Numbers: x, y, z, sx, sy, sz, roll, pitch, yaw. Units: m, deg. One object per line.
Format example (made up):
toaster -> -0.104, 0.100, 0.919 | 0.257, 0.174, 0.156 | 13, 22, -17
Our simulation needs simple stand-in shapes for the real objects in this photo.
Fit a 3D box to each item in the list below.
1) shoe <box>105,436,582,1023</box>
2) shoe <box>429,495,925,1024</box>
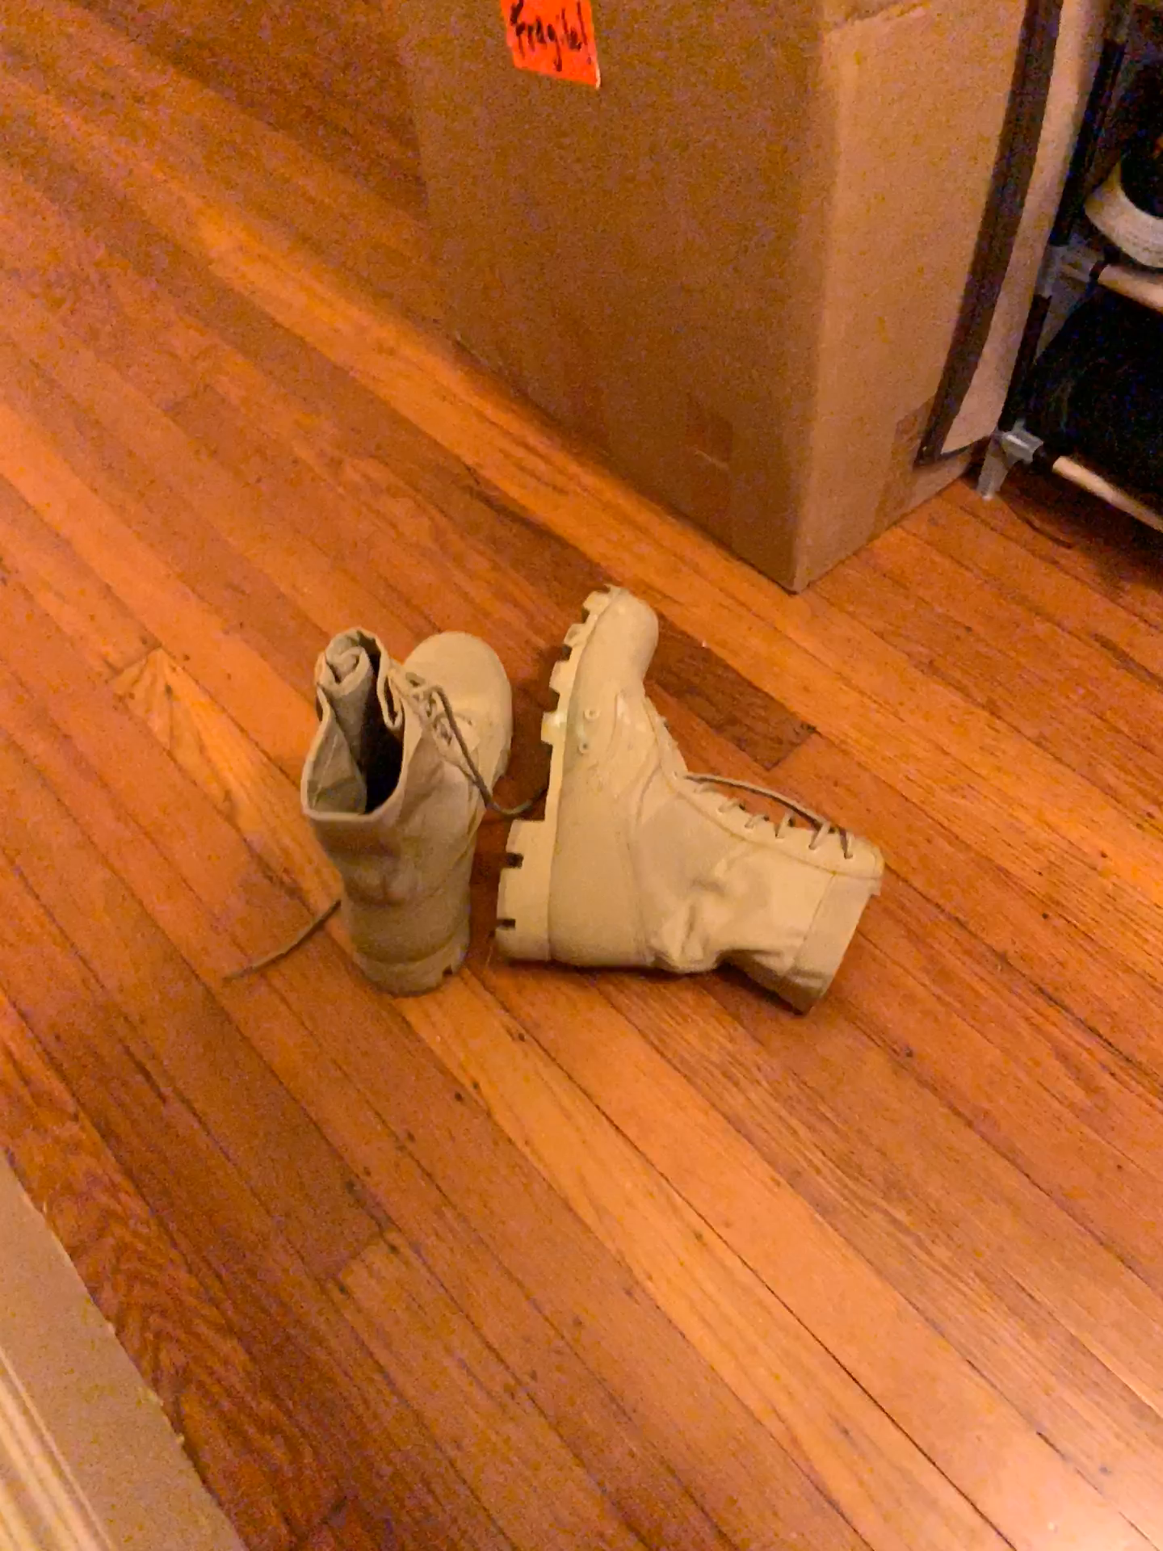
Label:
shoe -> -0.123, -0.032, 0.765 | 0.190, 0.199, 0.301 | 6, 58, 8
shoe -> 0.079, -0.025, 0.766 | 0.250, 0.119, 0.311 | 4, 57, 16
